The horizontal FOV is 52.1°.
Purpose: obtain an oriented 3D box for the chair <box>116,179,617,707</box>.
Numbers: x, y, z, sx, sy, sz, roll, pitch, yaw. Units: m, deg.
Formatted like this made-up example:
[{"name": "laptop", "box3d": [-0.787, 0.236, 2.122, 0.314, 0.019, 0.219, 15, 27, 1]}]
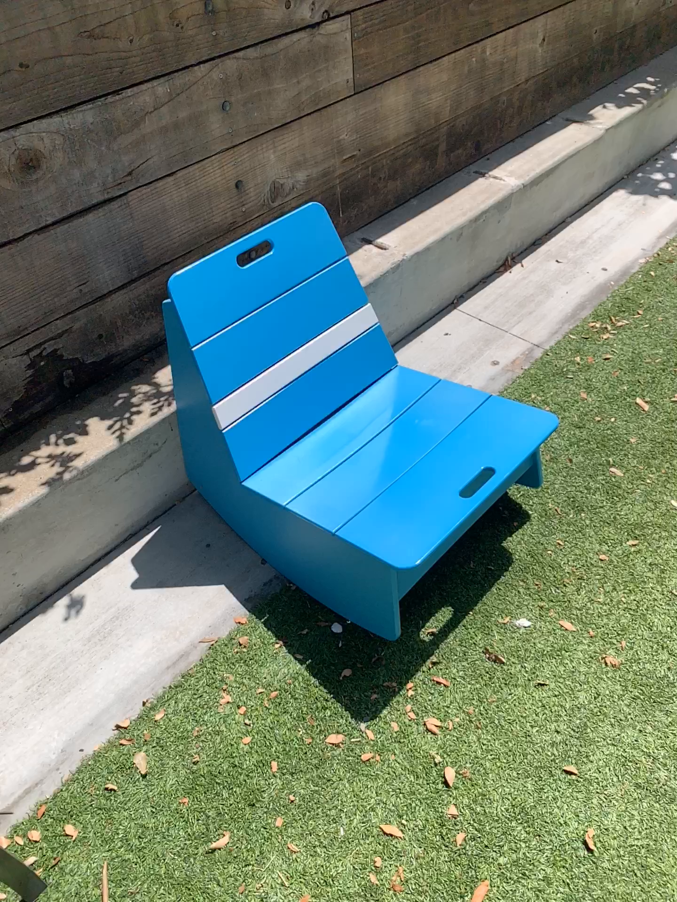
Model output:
[{"name": "chair", "box3d": [0.046, -0.043, 1.553, 0.591, 0.746, 0.723, -36, 54, -29]}]
